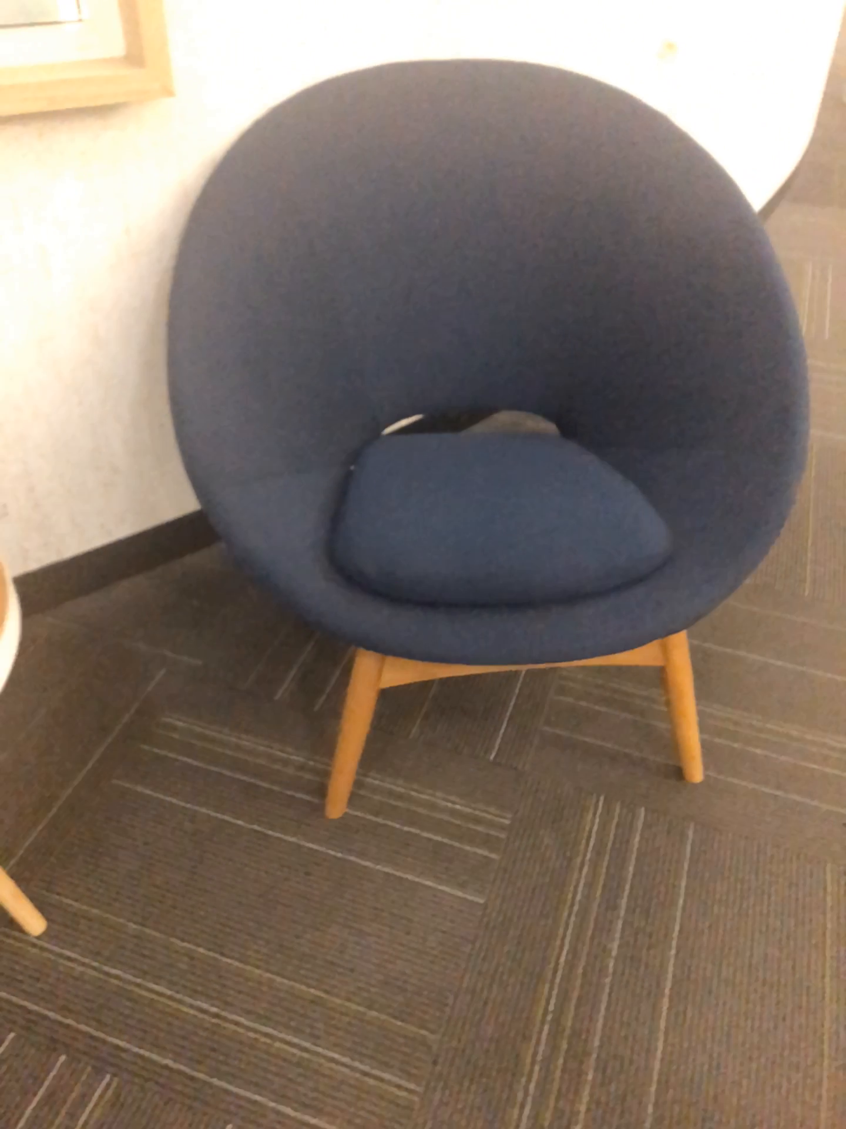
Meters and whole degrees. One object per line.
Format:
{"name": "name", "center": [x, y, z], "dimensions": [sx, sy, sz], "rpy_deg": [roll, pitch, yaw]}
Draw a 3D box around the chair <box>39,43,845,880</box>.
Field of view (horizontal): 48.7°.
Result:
{"name": "chair", "center": [0.090, -0.243, 1.520], "dimensions": [0.890, 0.992, 1.008], "rpy_deg": [-1, 32, -2]}
